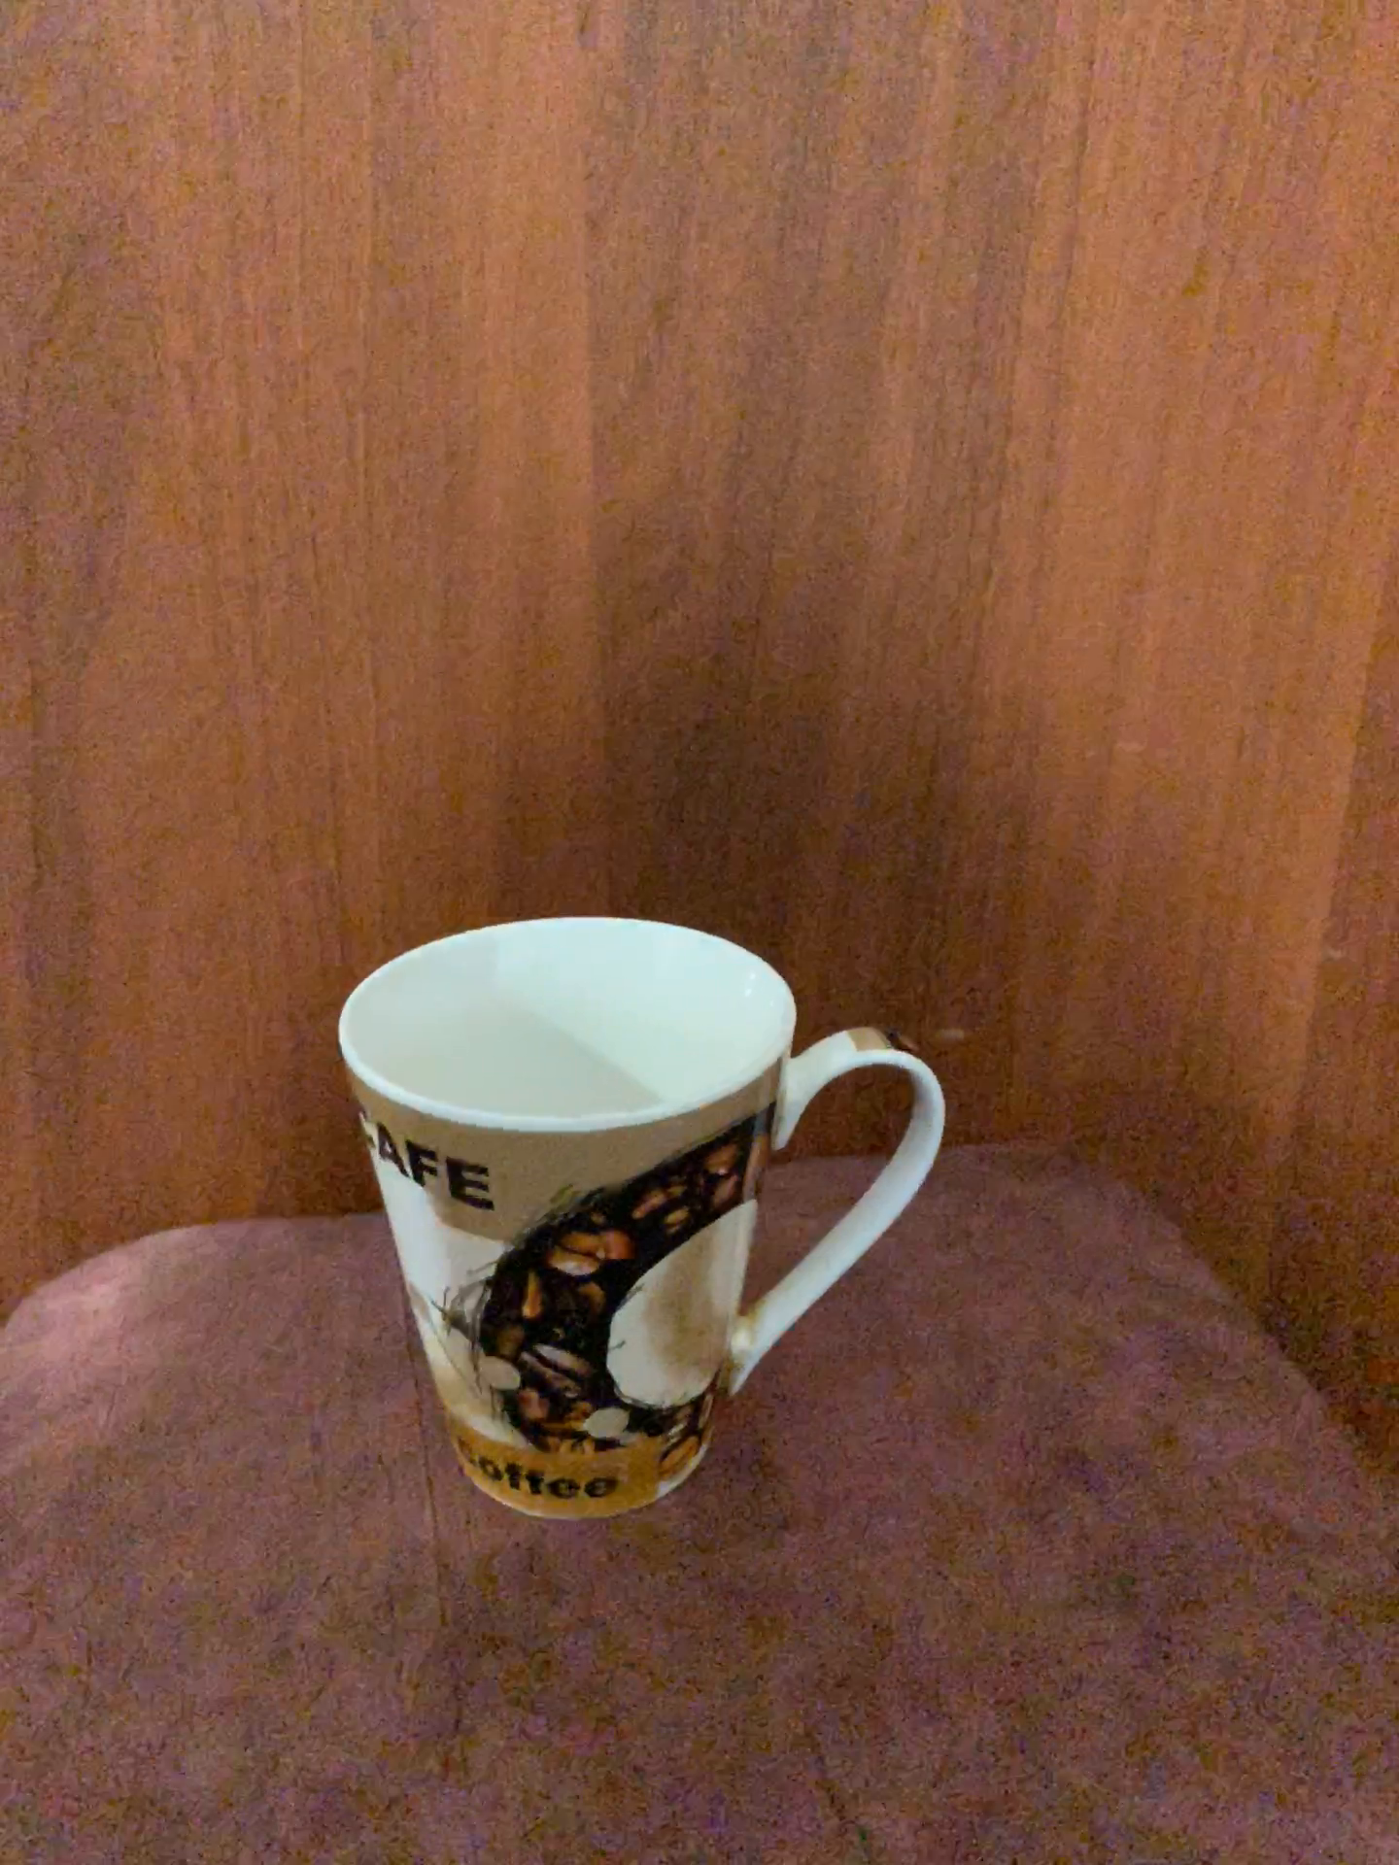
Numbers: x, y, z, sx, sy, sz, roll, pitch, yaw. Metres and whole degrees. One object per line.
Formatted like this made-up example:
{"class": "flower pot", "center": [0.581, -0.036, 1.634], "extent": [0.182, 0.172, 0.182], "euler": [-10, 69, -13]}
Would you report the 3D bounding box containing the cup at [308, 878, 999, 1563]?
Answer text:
{"class": "cup", "center": [-0.014, 0.052, 0.307], "extent": [0.119, 0.092, 0.095], "euler": [-4, 23, -10]}
